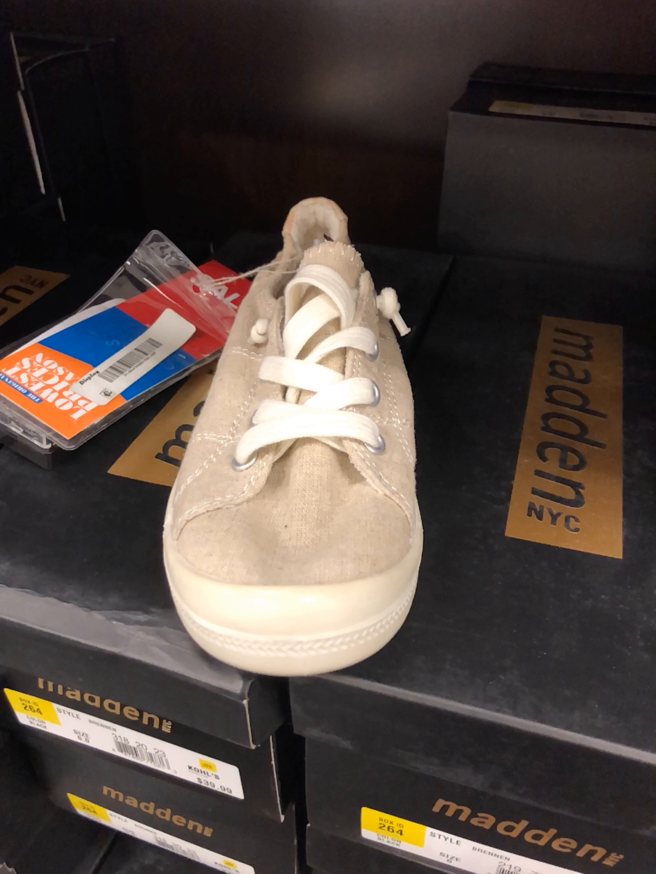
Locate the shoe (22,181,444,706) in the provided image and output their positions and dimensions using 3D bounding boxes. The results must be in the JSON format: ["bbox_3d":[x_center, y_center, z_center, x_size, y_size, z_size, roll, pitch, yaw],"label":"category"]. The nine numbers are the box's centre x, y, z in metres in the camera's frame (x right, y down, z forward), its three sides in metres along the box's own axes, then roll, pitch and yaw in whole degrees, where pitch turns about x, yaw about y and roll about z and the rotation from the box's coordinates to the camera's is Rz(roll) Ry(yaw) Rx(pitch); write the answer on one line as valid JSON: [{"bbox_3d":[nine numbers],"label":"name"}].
[{"bbox_3d":[-0.015,-0.021,0.260,0.090,0.070,0.211,2,37,2],"label":"shoe"}]
